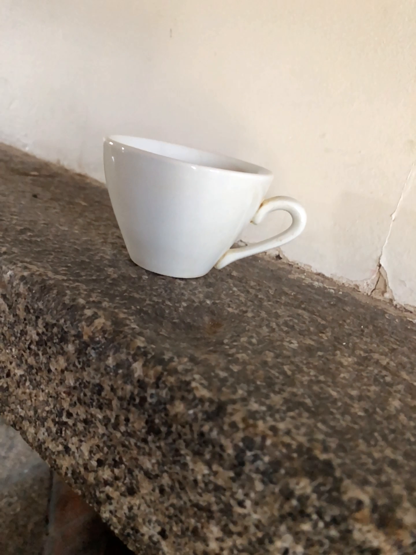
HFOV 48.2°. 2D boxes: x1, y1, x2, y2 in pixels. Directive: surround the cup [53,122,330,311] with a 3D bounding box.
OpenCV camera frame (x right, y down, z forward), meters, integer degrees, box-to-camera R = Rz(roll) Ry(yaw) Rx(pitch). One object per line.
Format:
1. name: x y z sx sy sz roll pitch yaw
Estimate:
1. cup: -0.003 -0.034 0.214 0.100 0.050 0.080 14 19 7
